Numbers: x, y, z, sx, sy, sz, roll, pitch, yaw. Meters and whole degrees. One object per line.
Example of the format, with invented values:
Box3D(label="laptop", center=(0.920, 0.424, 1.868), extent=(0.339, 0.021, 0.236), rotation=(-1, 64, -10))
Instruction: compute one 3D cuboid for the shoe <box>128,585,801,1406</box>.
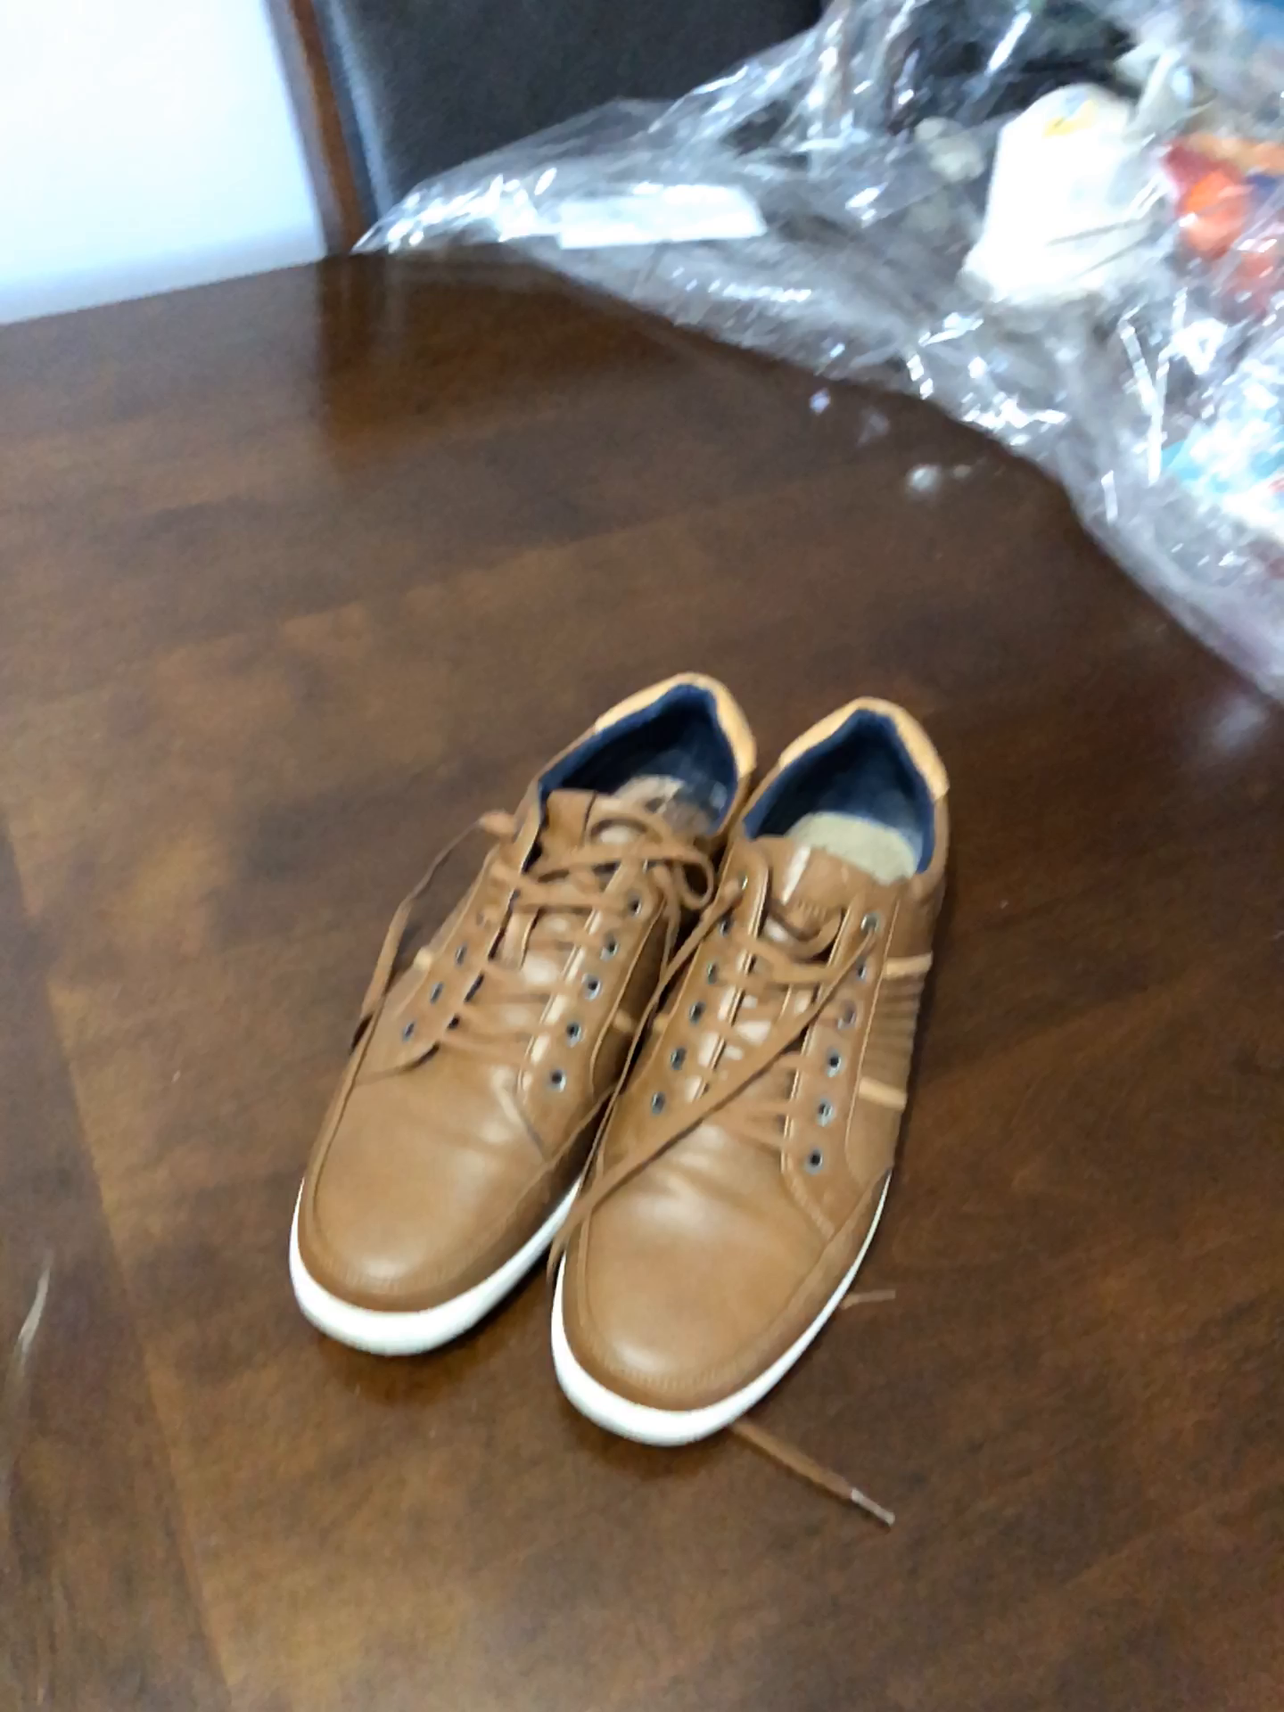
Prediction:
Box3D(label="shoe", center=(-0.044, 0.031, 0.523), extent=(0.110, 0.080, 0.291), rotation=(19, 51, 14))

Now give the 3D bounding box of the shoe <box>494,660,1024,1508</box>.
Box3D(label="shoe", center=(0.054, 0.062, 0.521), extent=(0.110, 0.080, 0.291), rotation=(15, 51, 11))
